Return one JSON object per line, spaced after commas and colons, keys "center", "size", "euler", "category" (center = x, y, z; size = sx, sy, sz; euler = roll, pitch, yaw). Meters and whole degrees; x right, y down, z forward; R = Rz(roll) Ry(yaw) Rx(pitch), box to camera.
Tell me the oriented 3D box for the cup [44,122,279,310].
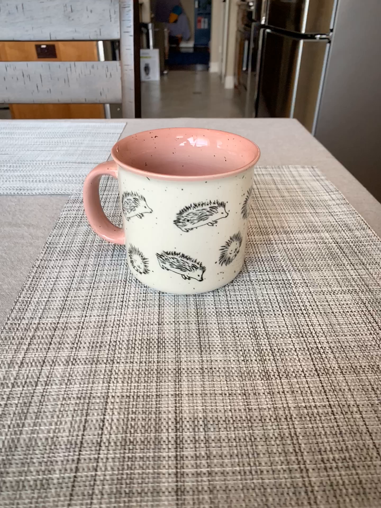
{"center": [-0.015, -0.038, 0.328], "size": [0.150, 0.106, 0.121], "euler": [3, 33, 4], "category": "cup"}
